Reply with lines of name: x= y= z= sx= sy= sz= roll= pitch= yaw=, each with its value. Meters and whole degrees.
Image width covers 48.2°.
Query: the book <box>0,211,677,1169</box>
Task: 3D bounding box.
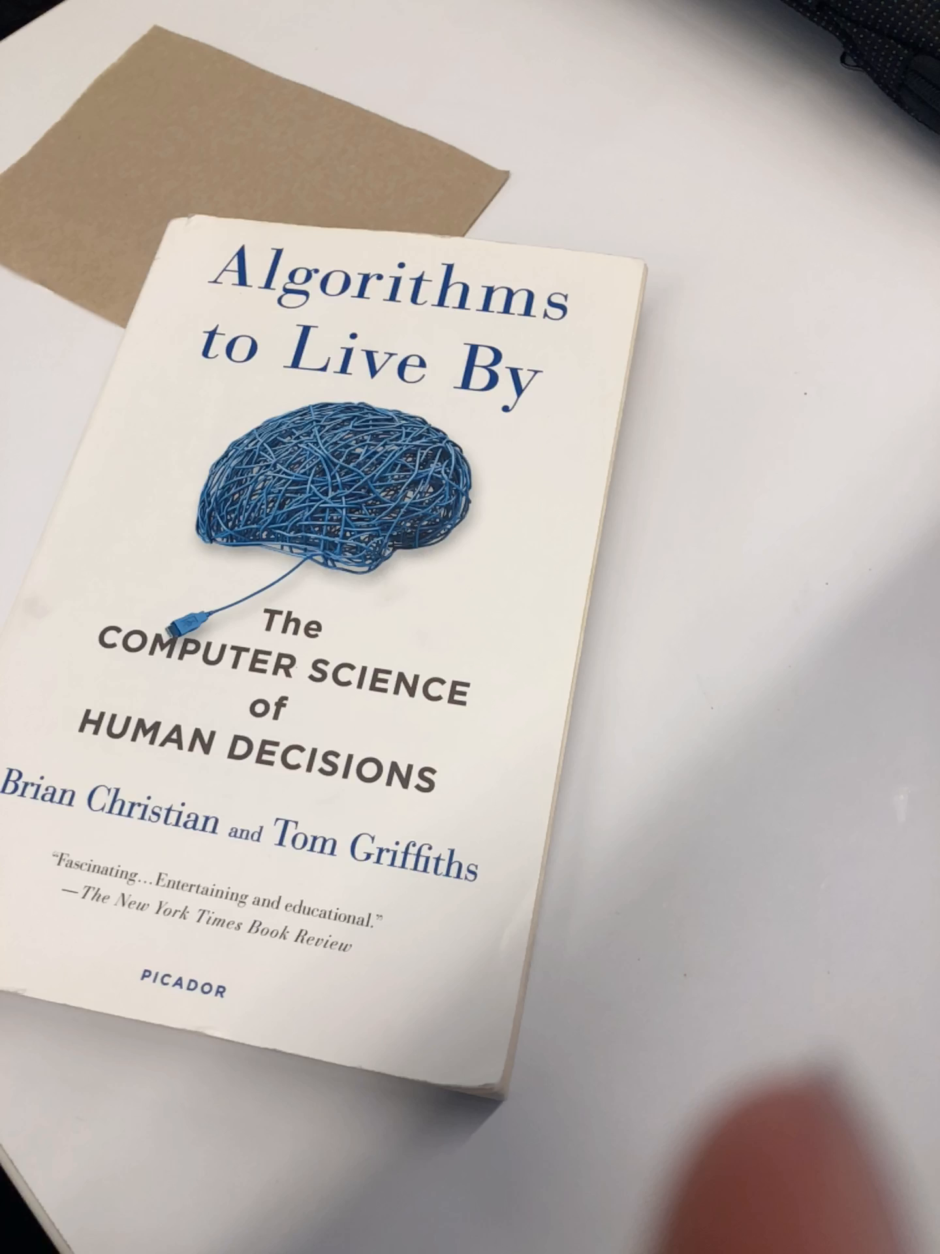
book: x=-0.043 y=-0.002 z=0.267 sx=0.160 sy=0.040 sz=0.220 roll=8 pitch=66 yaw=9
